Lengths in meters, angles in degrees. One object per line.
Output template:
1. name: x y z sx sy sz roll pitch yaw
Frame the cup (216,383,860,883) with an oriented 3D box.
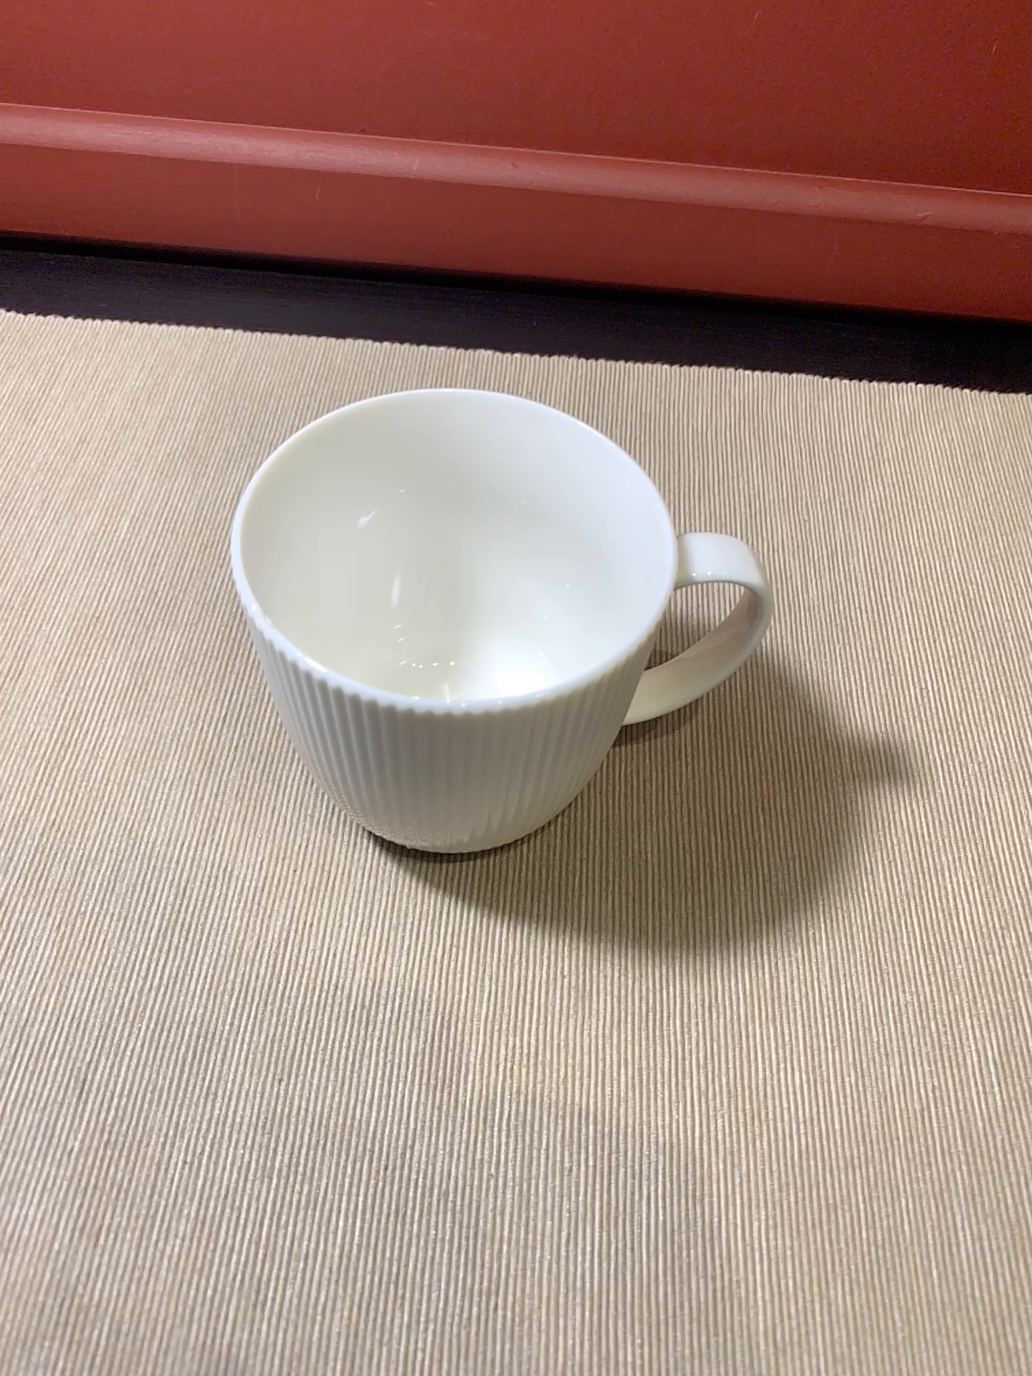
1. cup: 0.001 -0.013 0.232 0.110 0.060 0.090 0 52 -4
